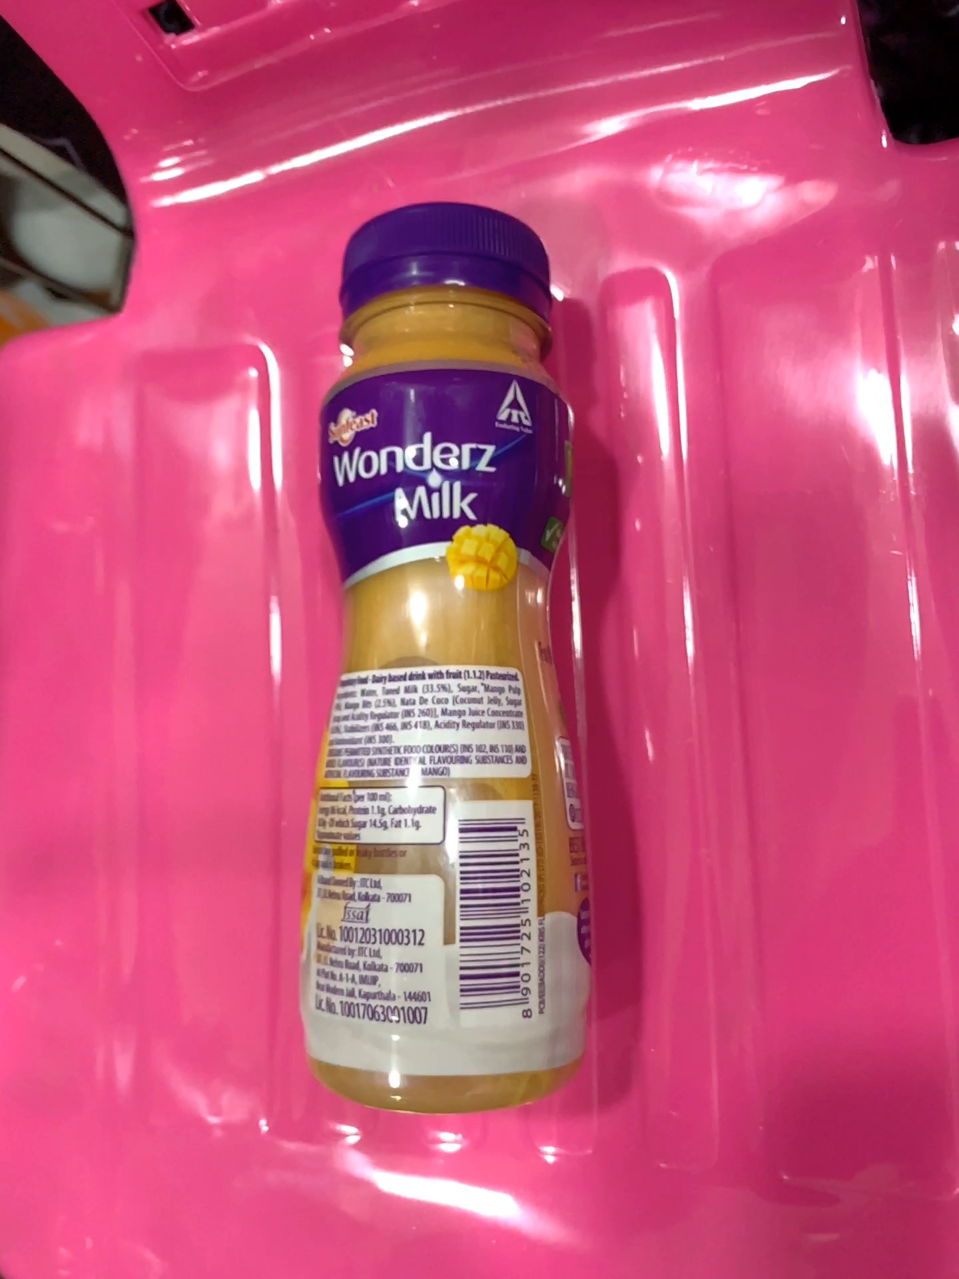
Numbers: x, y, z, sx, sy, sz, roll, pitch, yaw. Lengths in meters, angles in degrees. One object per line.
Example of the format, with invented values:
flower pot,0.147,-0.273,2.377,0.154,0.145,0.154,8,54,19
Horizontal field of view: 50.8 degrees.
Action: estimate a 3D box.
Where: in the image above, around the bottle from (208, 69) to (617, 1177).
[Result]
bottle,-0.010,-0.003,0.177,0.050,0.050,0.160,-4,86,19
